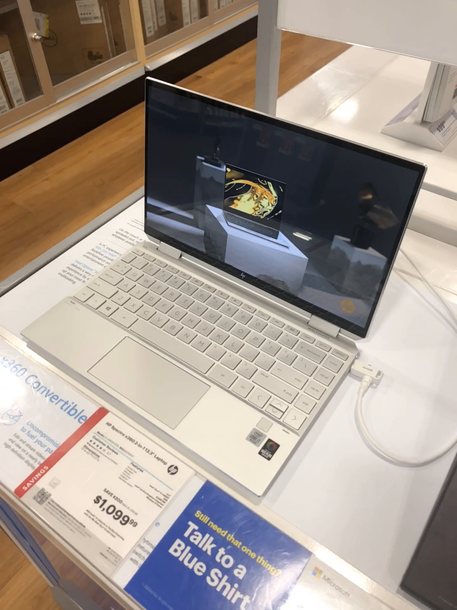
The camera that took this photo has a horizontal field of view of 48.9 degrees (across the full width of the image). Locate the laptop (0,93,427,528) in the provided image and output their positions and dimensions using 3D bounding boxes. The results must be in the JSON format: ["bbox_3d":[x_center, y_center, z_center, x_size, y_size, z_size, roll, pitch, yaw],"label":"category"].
[{"bbox_3d":[-0.034,-0.022,0.451,0.303,0.184,0.228,28,52,25],"label":"laptop"}]
